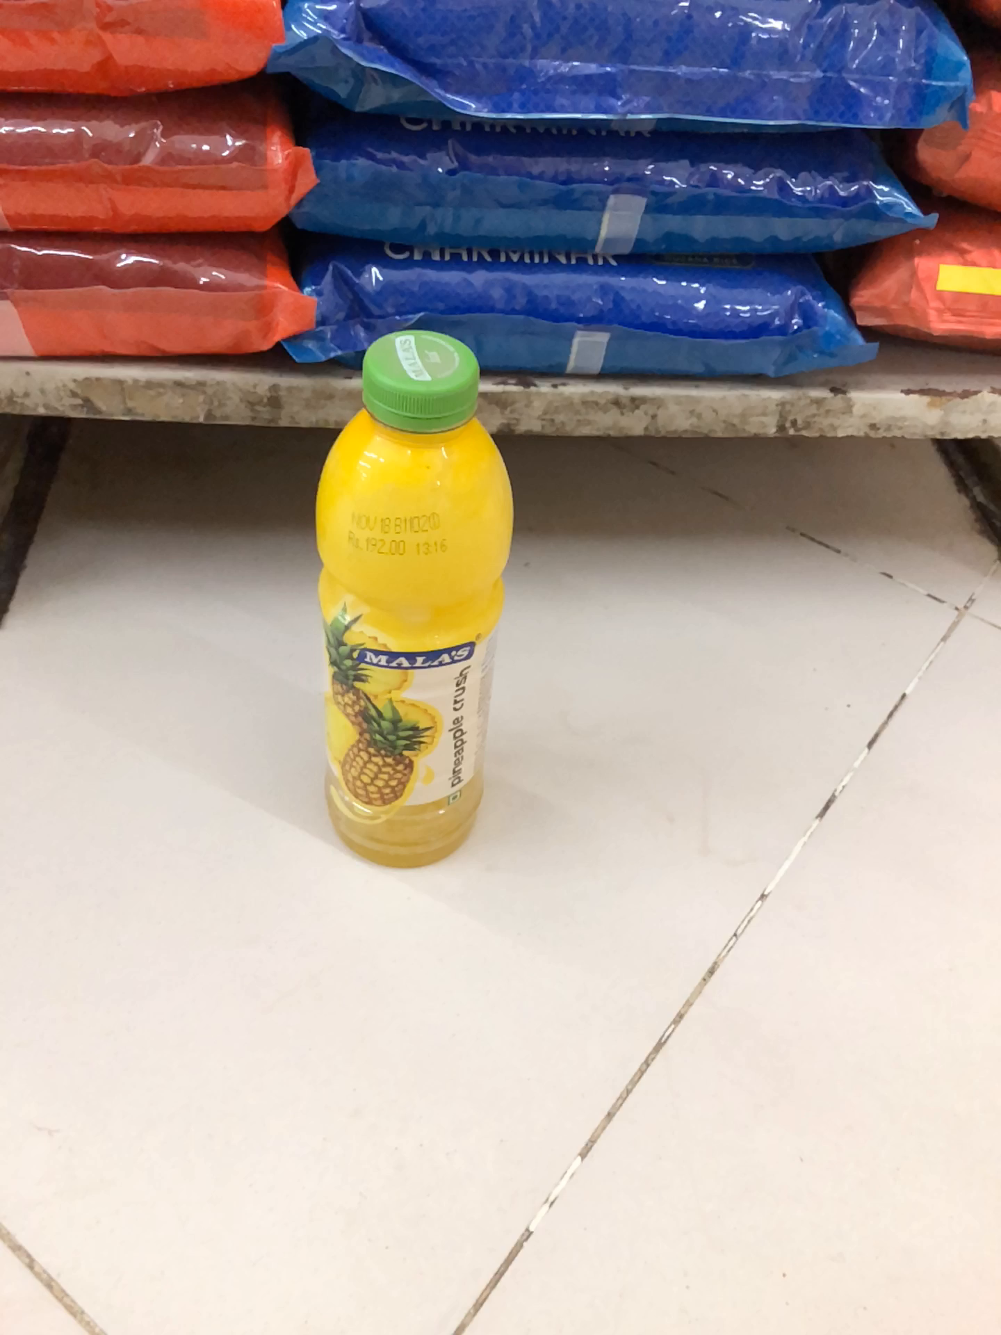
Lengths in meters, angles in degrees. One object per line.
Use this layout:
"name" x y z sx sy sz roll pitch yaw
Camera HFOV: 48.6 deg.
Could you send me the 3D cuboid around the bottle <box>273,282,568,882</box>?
"bottle" -0.039 -0.022 0.462 0.090 0.248 0.091 3 46 -3
